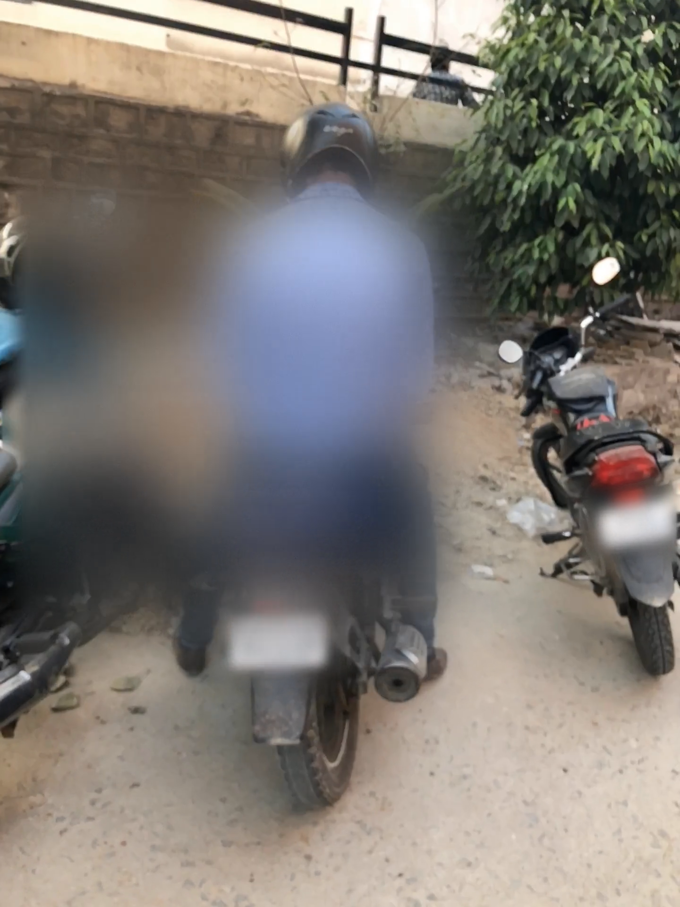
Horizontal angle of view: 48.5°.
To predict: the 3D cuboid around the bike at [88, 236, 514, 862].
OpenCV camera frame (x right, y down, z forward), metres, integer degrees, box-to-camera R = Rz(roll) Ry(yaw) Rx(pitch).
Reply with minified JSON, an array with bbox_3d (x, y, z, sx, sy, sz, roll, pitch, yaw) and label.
[{"bbox_3d":[-0.056,0.040,2.222,0.754,1.077,1.584,7,21,3],"label":"bike"}]
